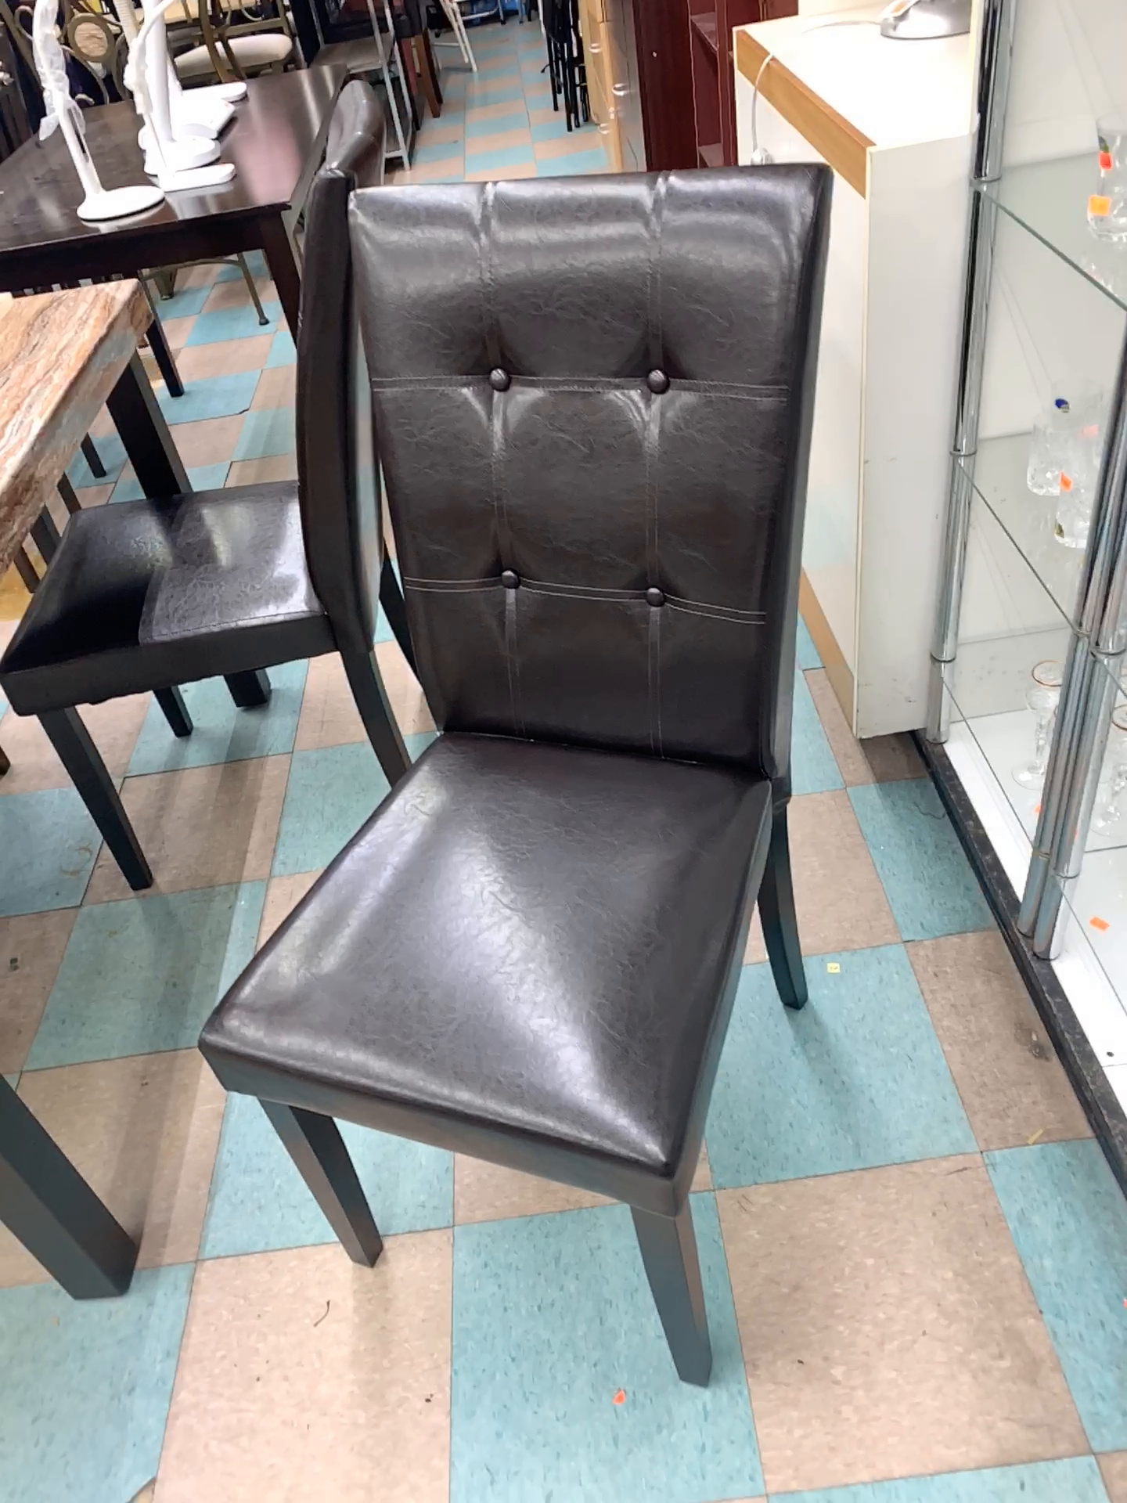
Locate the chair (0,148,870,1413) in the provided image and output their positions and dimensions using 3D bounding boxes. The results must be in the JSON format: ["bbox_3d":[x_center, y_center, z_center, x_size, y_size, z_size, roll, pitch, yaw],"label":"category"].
[{"bbox_3d":[-0.018,0.058,1.061,0.471,0.955,0.572,9,44,22],"label":"chair"}]

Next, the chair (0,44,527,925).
[{"bbox_3d":[-0.487,-0.370,1.673,0.650,0.955,0.674,-11,40,1],"label":"chair"}]
